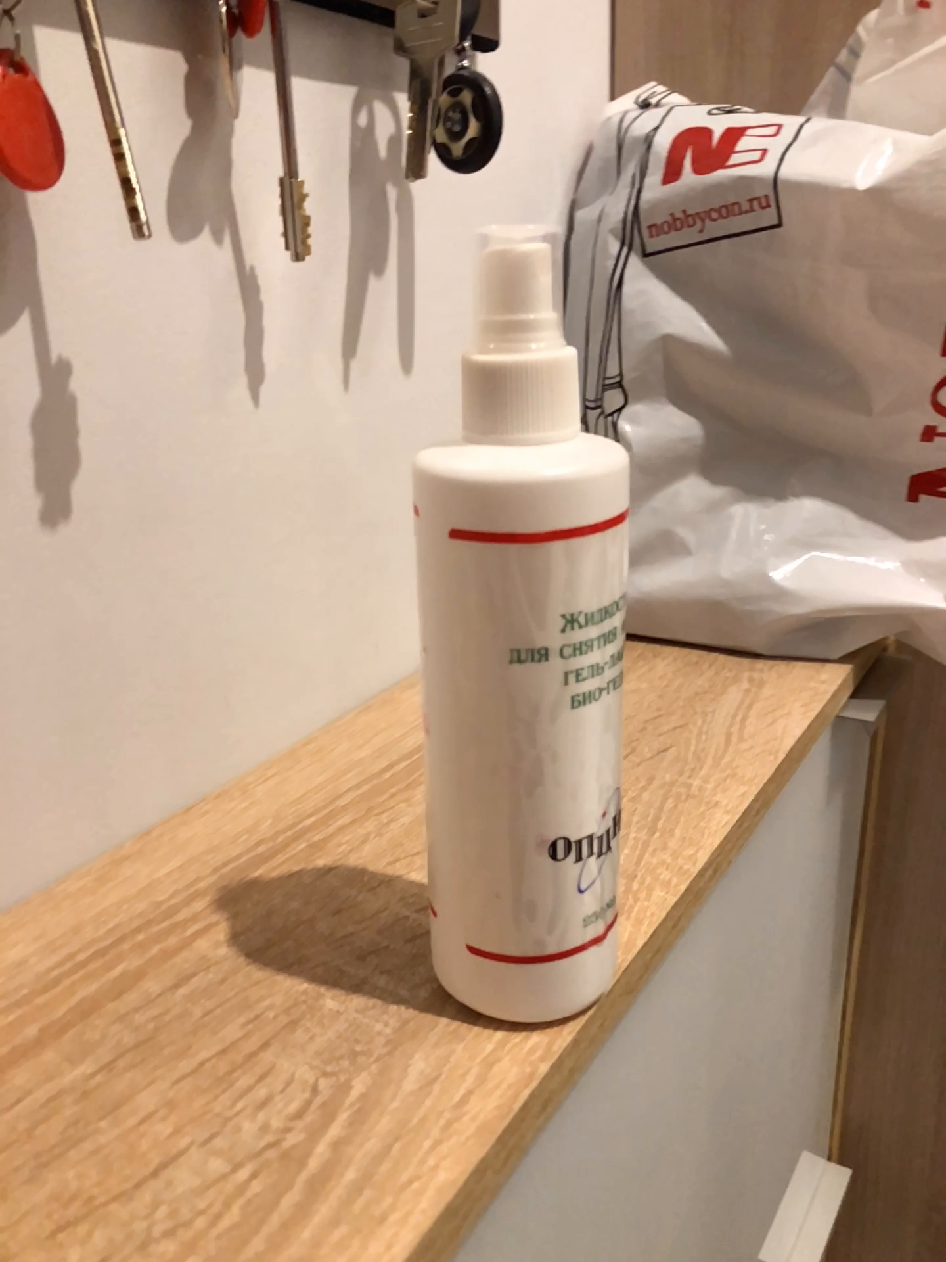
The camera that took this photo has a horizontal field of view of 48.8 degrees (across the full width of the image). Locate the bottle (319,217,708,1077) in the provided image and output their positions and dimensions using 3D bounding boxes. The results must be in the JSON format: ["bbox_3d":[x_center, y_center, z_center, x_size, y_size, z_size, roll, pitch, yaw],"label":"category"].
[{"bbox_3d":[0.012,0.002,0.246,0.059,0.183,0.056,-2,19,1],"label":"bottle"}]
